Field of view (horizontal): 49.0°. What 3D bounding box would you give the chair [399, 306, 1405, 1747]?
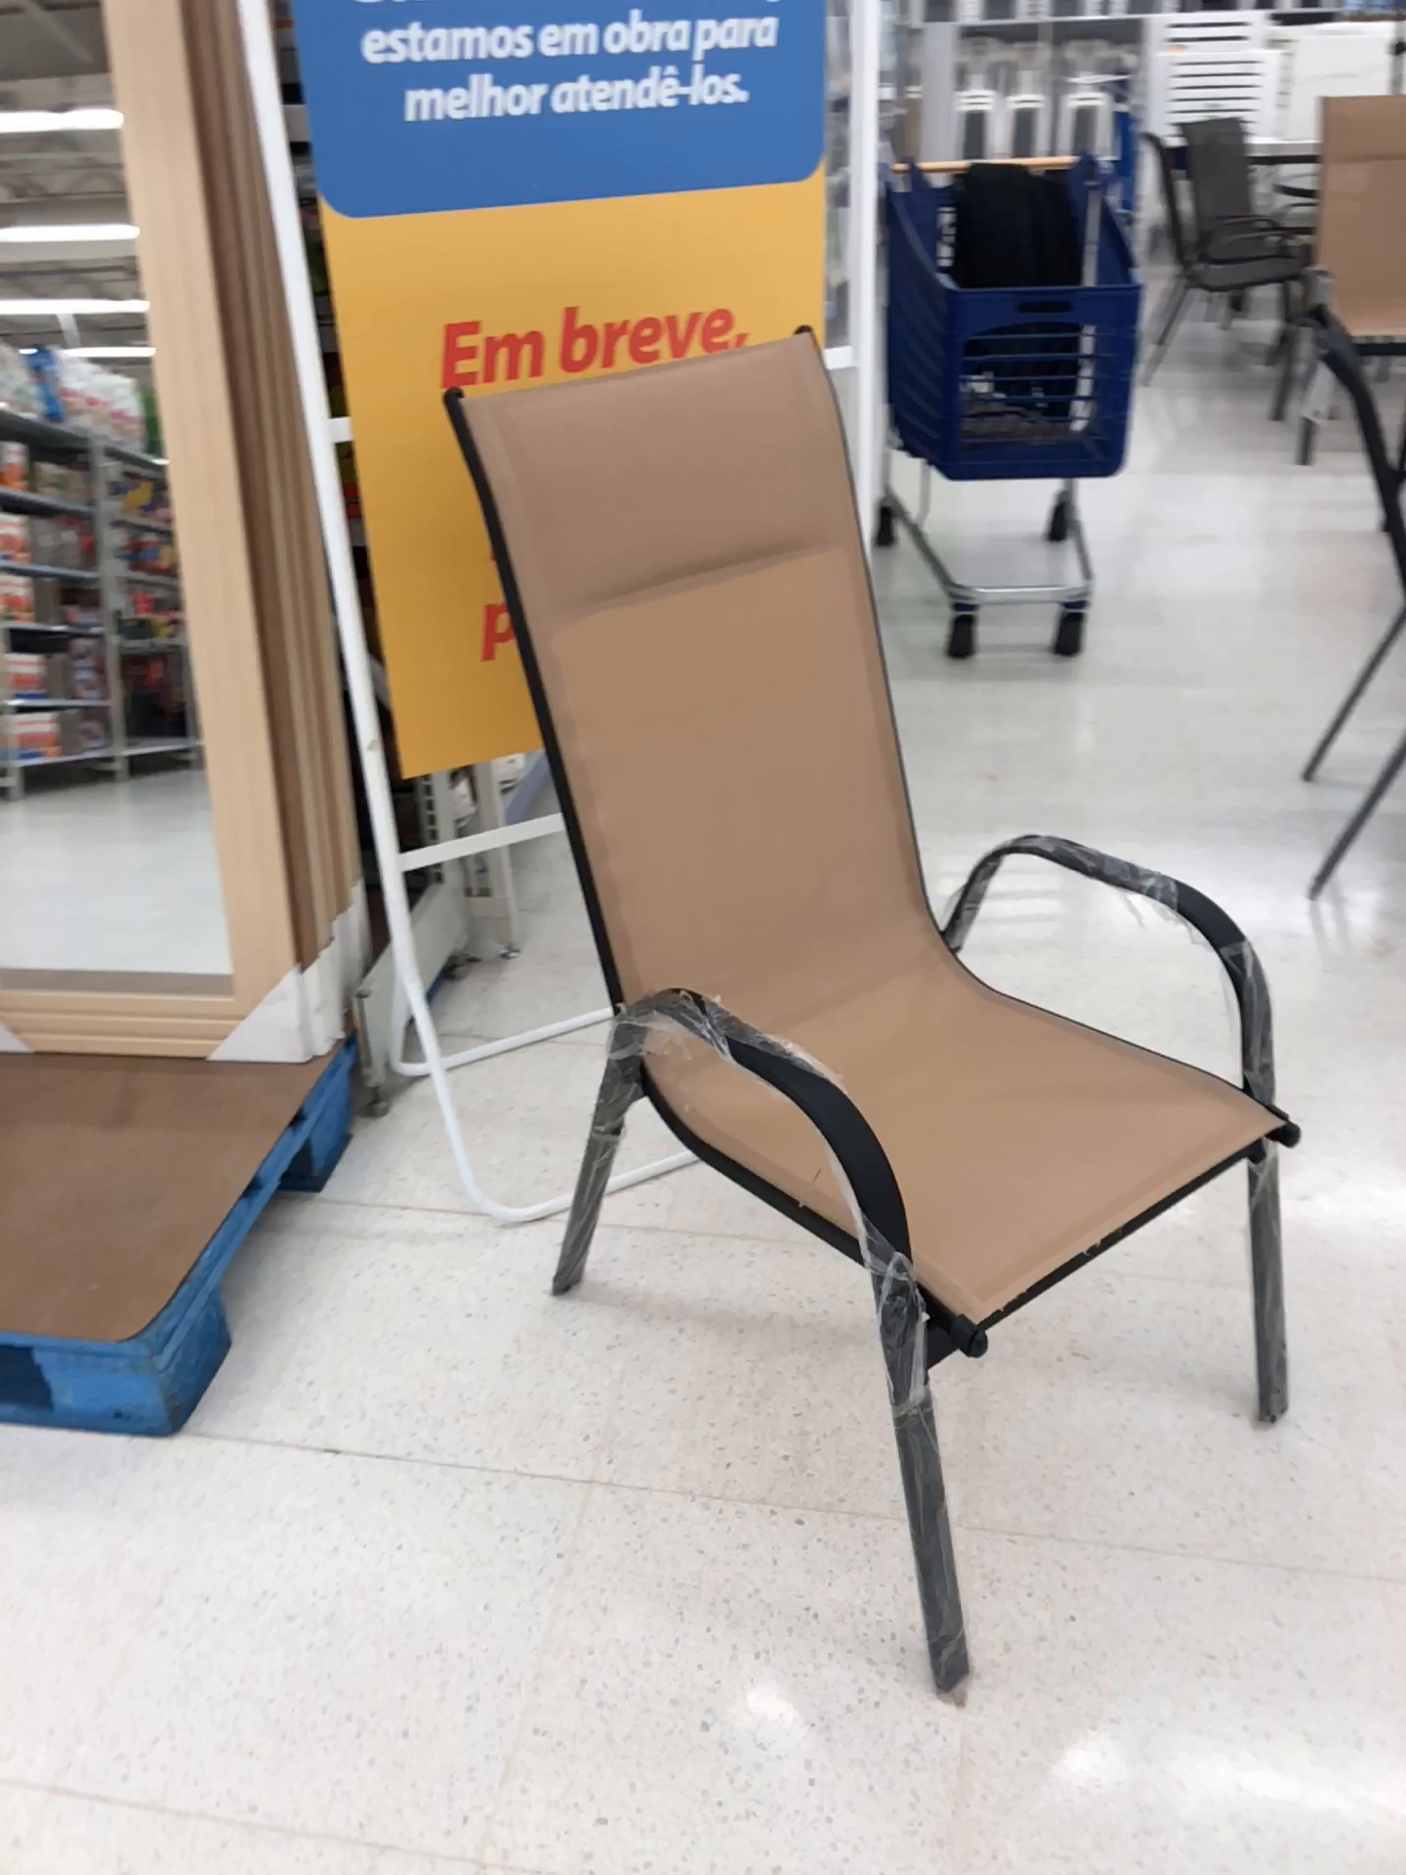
[{"bbox_3d":[0.225,0.006,1.433,0.622,0.973,0.703,-22,35,-31],"label":"chair"}]
